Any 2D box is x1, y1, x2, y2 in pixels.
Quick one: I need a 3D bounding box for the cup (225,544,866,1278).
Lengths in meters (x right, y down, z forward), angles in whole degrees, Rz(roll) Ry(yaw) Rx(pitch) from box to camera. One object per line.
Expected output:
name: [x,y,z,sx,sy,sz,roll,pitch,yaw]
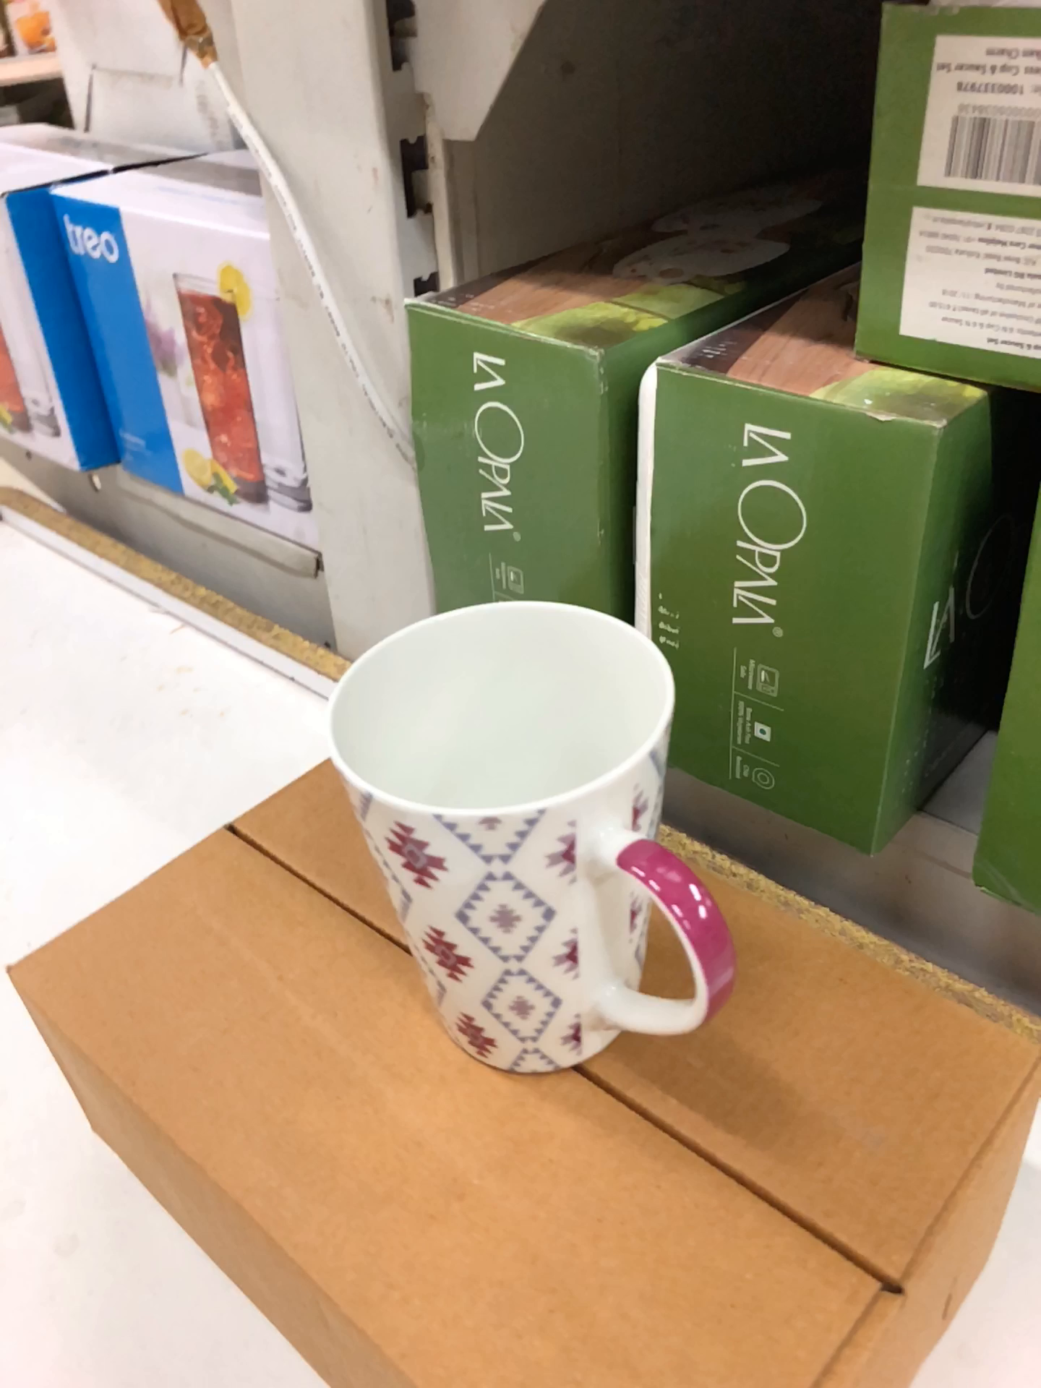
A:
cup: [0.002,0.042,0.276,0.080,0.099,0.120,-26,41,-29]
